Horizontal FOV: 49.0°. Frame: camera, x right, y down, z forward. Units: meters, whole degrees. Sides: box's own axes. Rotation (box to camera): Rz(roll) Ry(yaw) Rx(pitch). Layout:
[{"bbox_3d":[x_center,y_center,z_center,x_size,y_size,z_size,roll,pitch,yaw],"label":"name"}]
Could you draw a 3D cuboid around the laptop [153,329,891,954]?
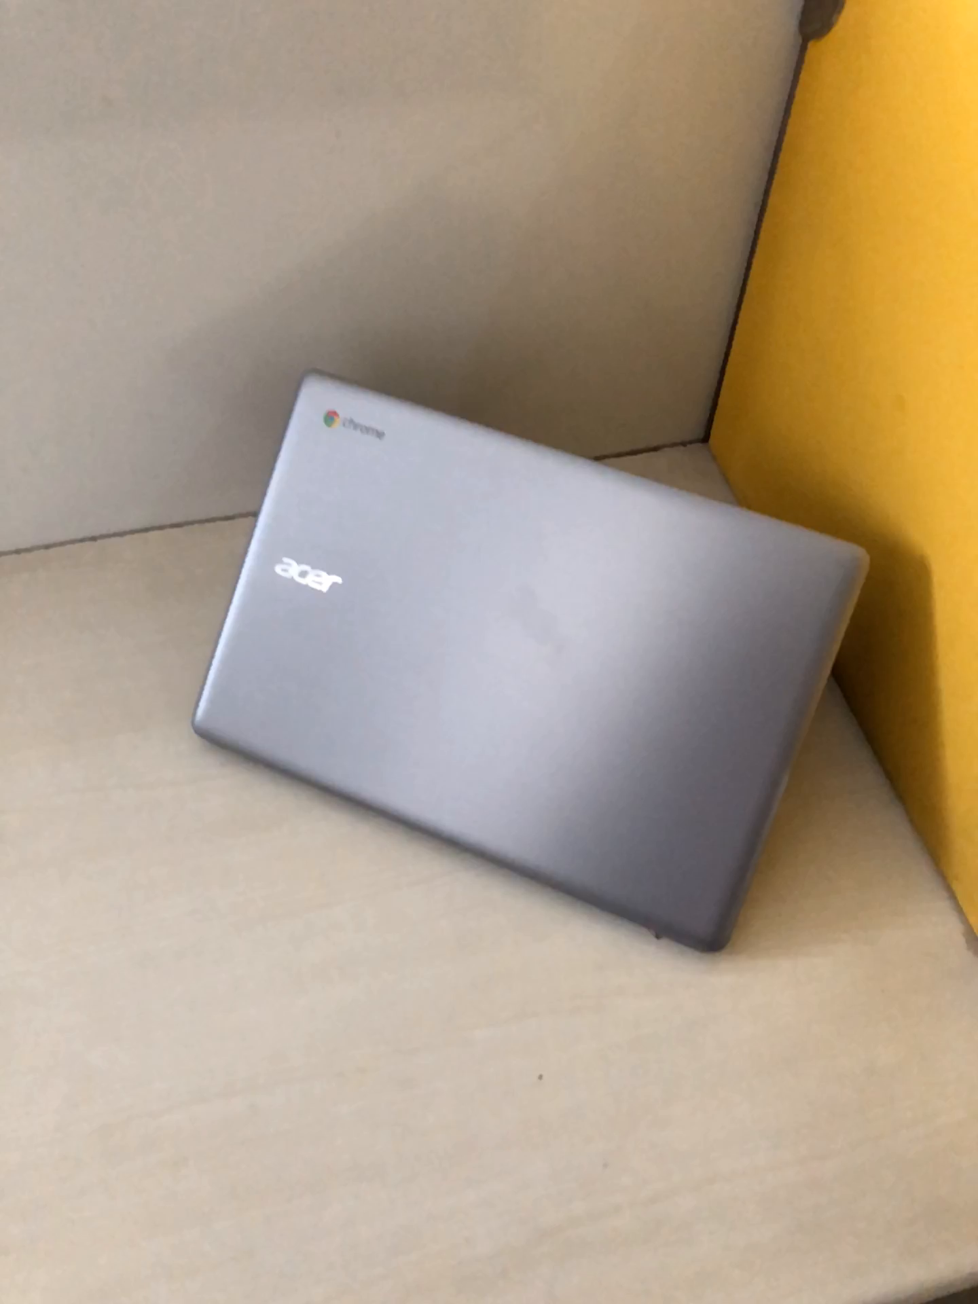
[{"bbox_3d":[0.023,-0.017,0.603,0.315,0.135,0.222,21,57,12],"label":"laptop"}]
